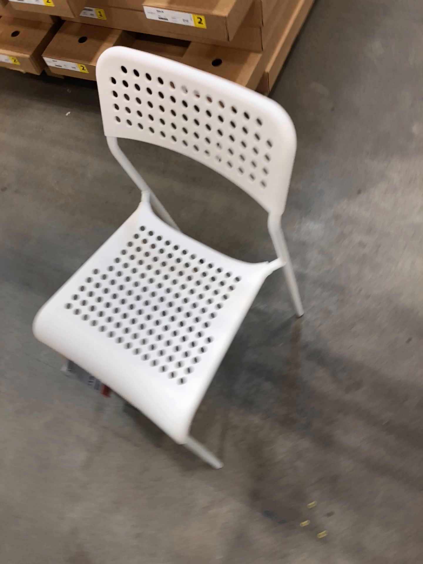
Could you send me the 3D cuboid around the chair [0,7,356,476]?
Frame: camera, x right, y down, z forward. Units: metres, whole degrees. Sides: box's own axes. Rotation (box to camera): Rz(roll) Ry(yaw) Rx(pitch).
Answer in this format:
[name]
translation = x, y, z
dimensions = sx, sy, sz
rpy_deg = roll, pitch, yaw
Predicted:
[chair]
translation = -0.087, 0.003, 0.919
dimensions = 0.461, 0.699, 0.510
rpy_deg = 30, 75, 22
